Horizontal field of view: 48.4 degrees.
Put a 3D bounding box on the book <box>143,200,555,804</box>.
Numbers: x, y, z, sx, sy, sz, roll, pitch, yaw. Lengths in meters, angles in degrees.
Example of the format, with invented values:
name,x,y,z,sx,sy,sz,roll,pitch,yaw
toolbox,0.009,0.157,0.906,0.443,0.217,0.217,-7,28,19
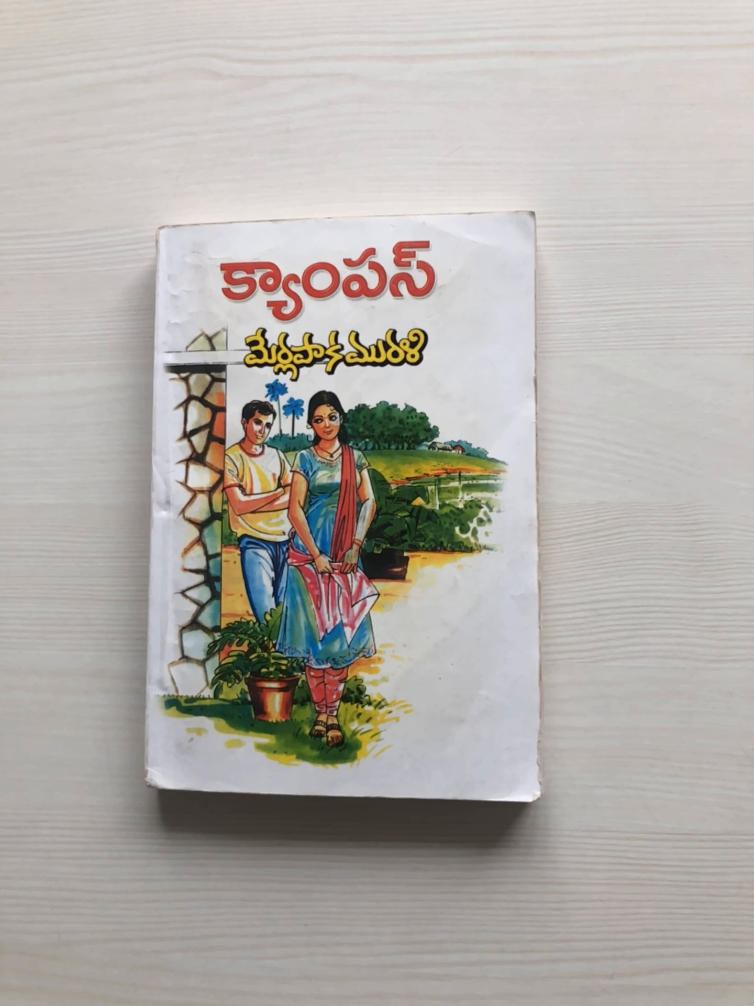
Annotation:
name,x,y,z,sx,sy,sz,roll,pitch,yaw
book,-0.008,-0.001,0.241,0.113,0.016,0.163,0,86,6
